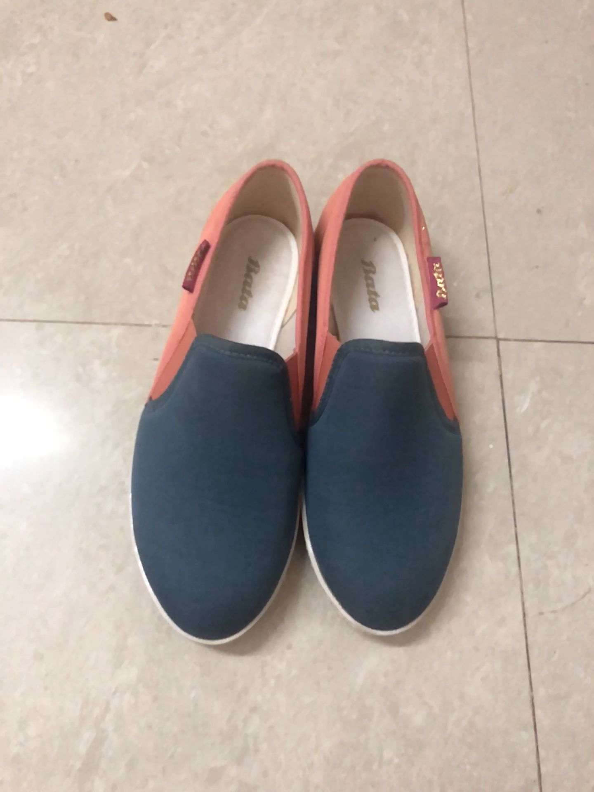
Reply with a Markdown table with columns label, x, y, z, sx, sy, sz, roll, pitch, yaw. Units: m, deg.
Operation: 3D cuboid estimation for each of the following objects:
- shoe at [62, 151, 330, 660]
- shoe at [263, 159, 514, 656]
| label | x | y | z | sx | sy | sz | roll | pitch | yaw |
| --- | --- | --- | --- | --- | --- | --- | --- | --- | --- |
| shoe | -0.039 | 0.001 | 0.314 | 0.090 | 0.060 | 0.220 | 6 | 73 | -5 |
| shoe | 0.033 | 0.001 | 0.316 | 0.090 | 0.060 | 0.220 | 0 | 73 | -7 |
